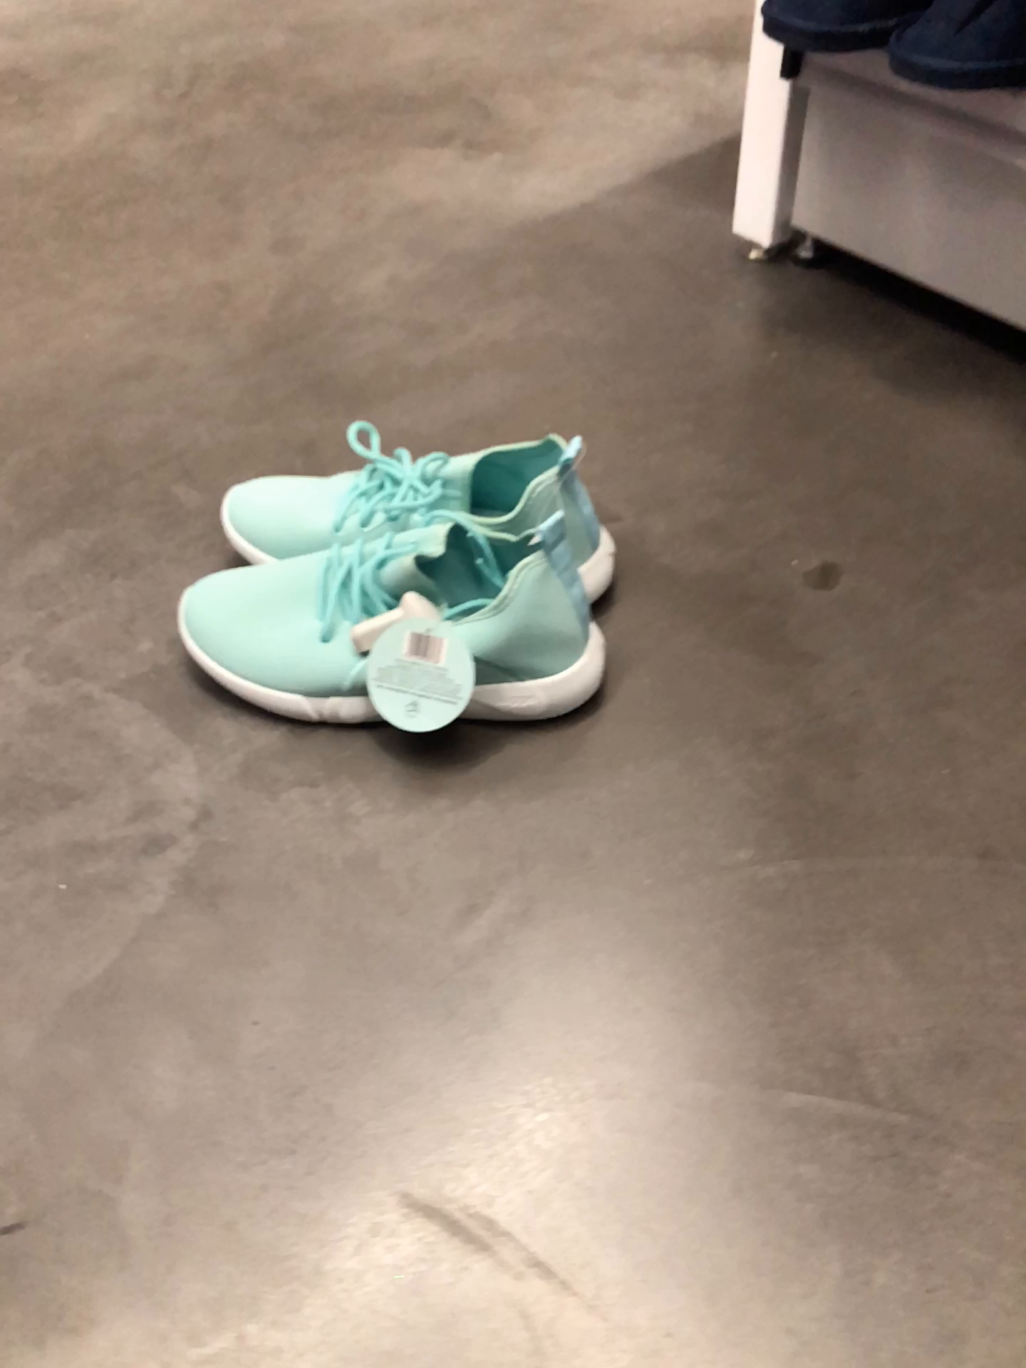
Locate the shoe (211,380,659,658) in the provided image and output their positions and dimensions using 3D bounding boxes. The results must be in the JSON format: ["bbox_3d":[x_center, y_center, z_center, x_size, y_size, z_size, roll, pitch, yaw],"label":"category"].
[{"bbox_3d":[-0.038,-0.098,0.660,0.230,0.099,0.101,7,48,9],"label":"shoe"}]

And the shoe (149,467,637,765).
[{"bbox_3d":[-0.054,-0.038,0.609,0.230,0.099,0.101,5,48,8],"label":"shoe"}]
